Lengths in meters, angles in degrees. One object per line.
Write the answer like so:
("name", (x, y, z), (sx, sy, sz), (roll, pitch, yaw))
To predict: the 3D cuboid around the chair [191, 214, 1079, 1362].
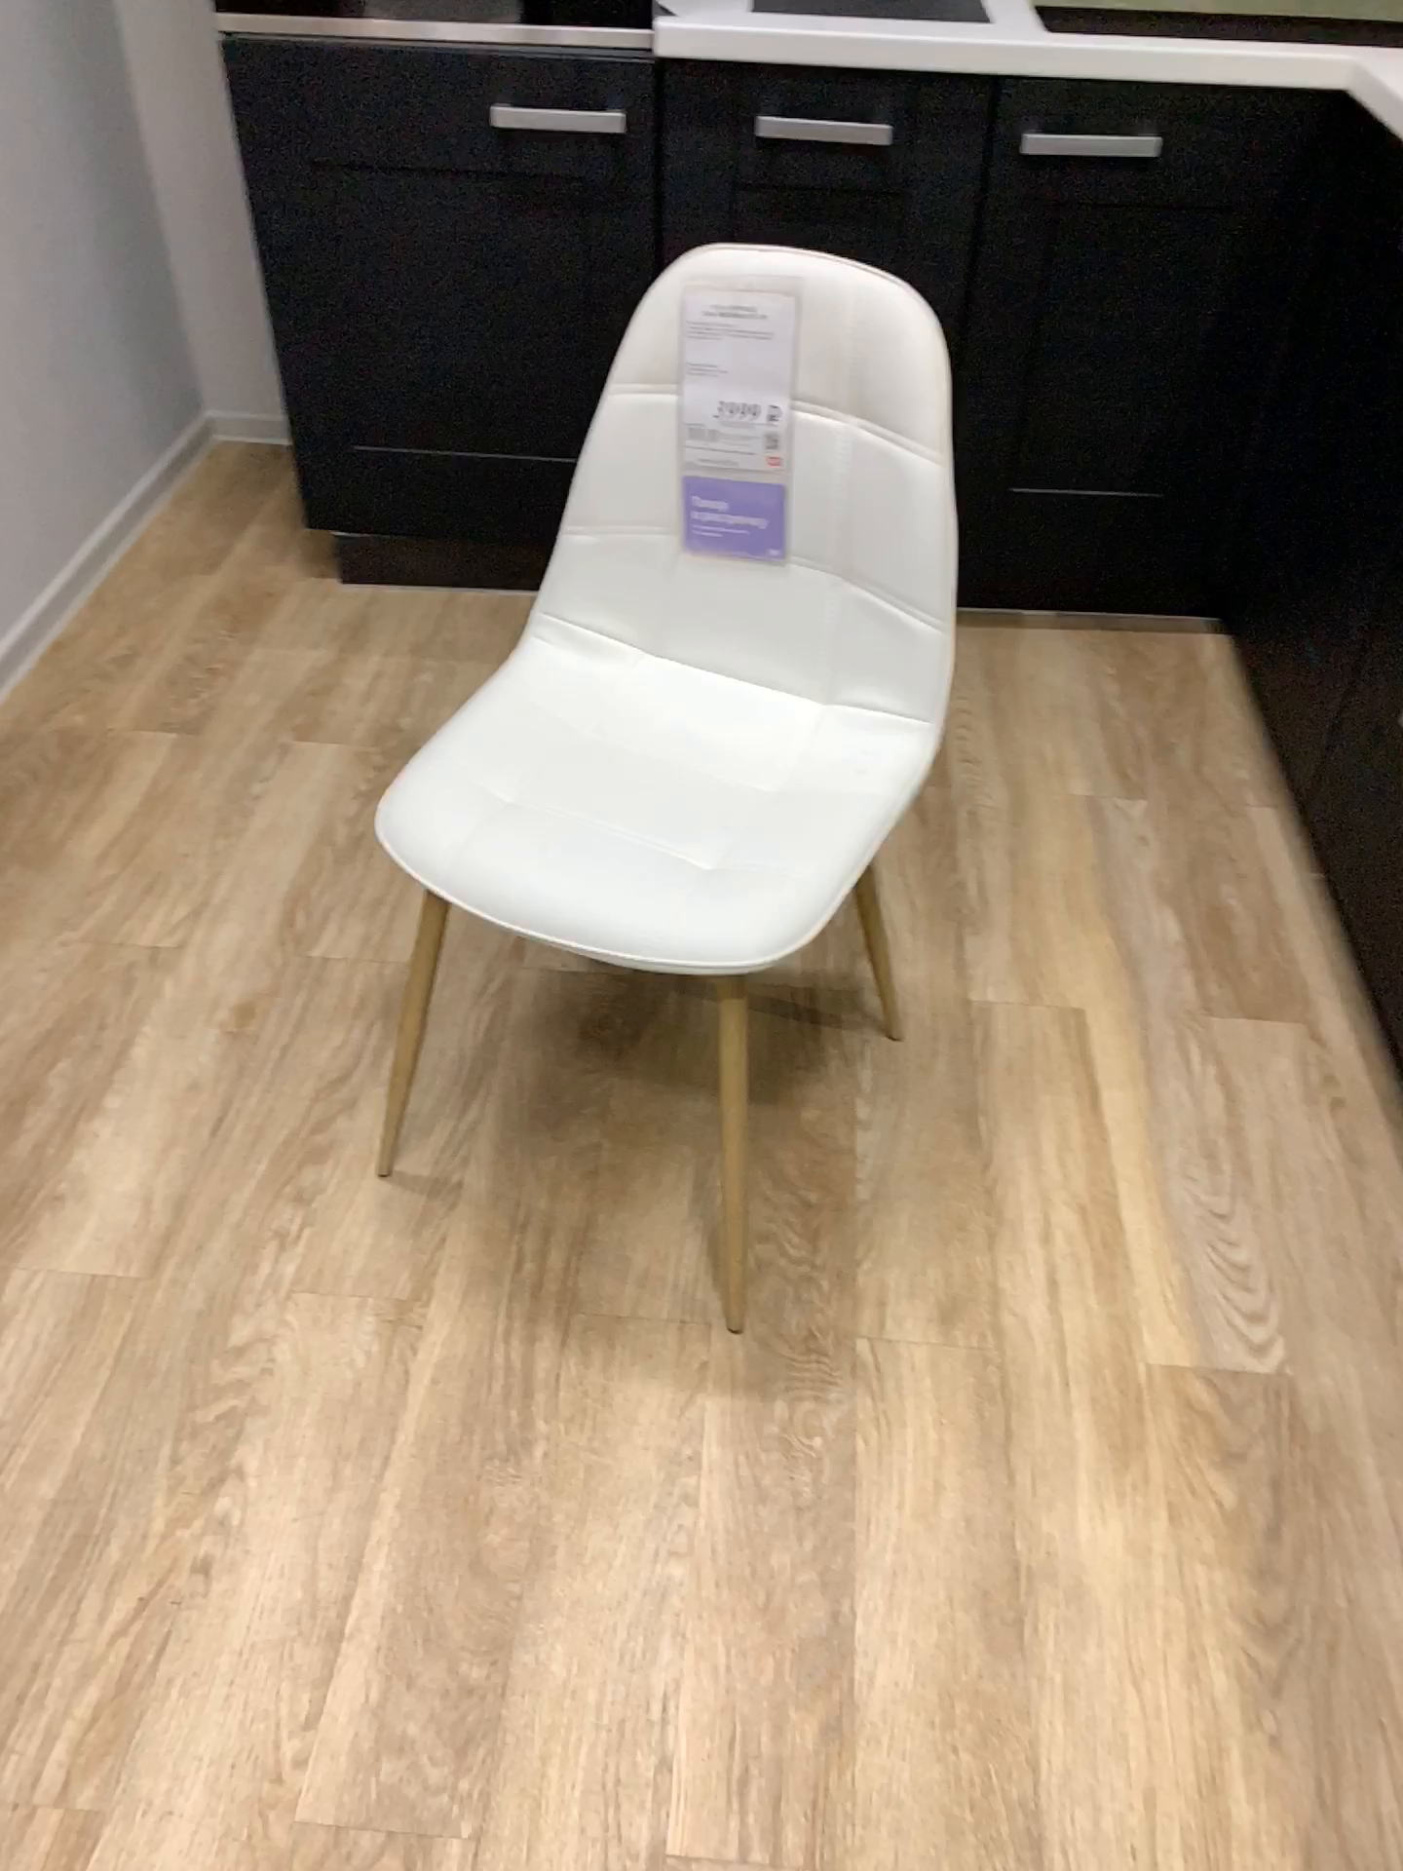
("chair", (-0.023, -0.140, 1.378), (0.470, 0.825, 0.573), (19, 44, 18))
